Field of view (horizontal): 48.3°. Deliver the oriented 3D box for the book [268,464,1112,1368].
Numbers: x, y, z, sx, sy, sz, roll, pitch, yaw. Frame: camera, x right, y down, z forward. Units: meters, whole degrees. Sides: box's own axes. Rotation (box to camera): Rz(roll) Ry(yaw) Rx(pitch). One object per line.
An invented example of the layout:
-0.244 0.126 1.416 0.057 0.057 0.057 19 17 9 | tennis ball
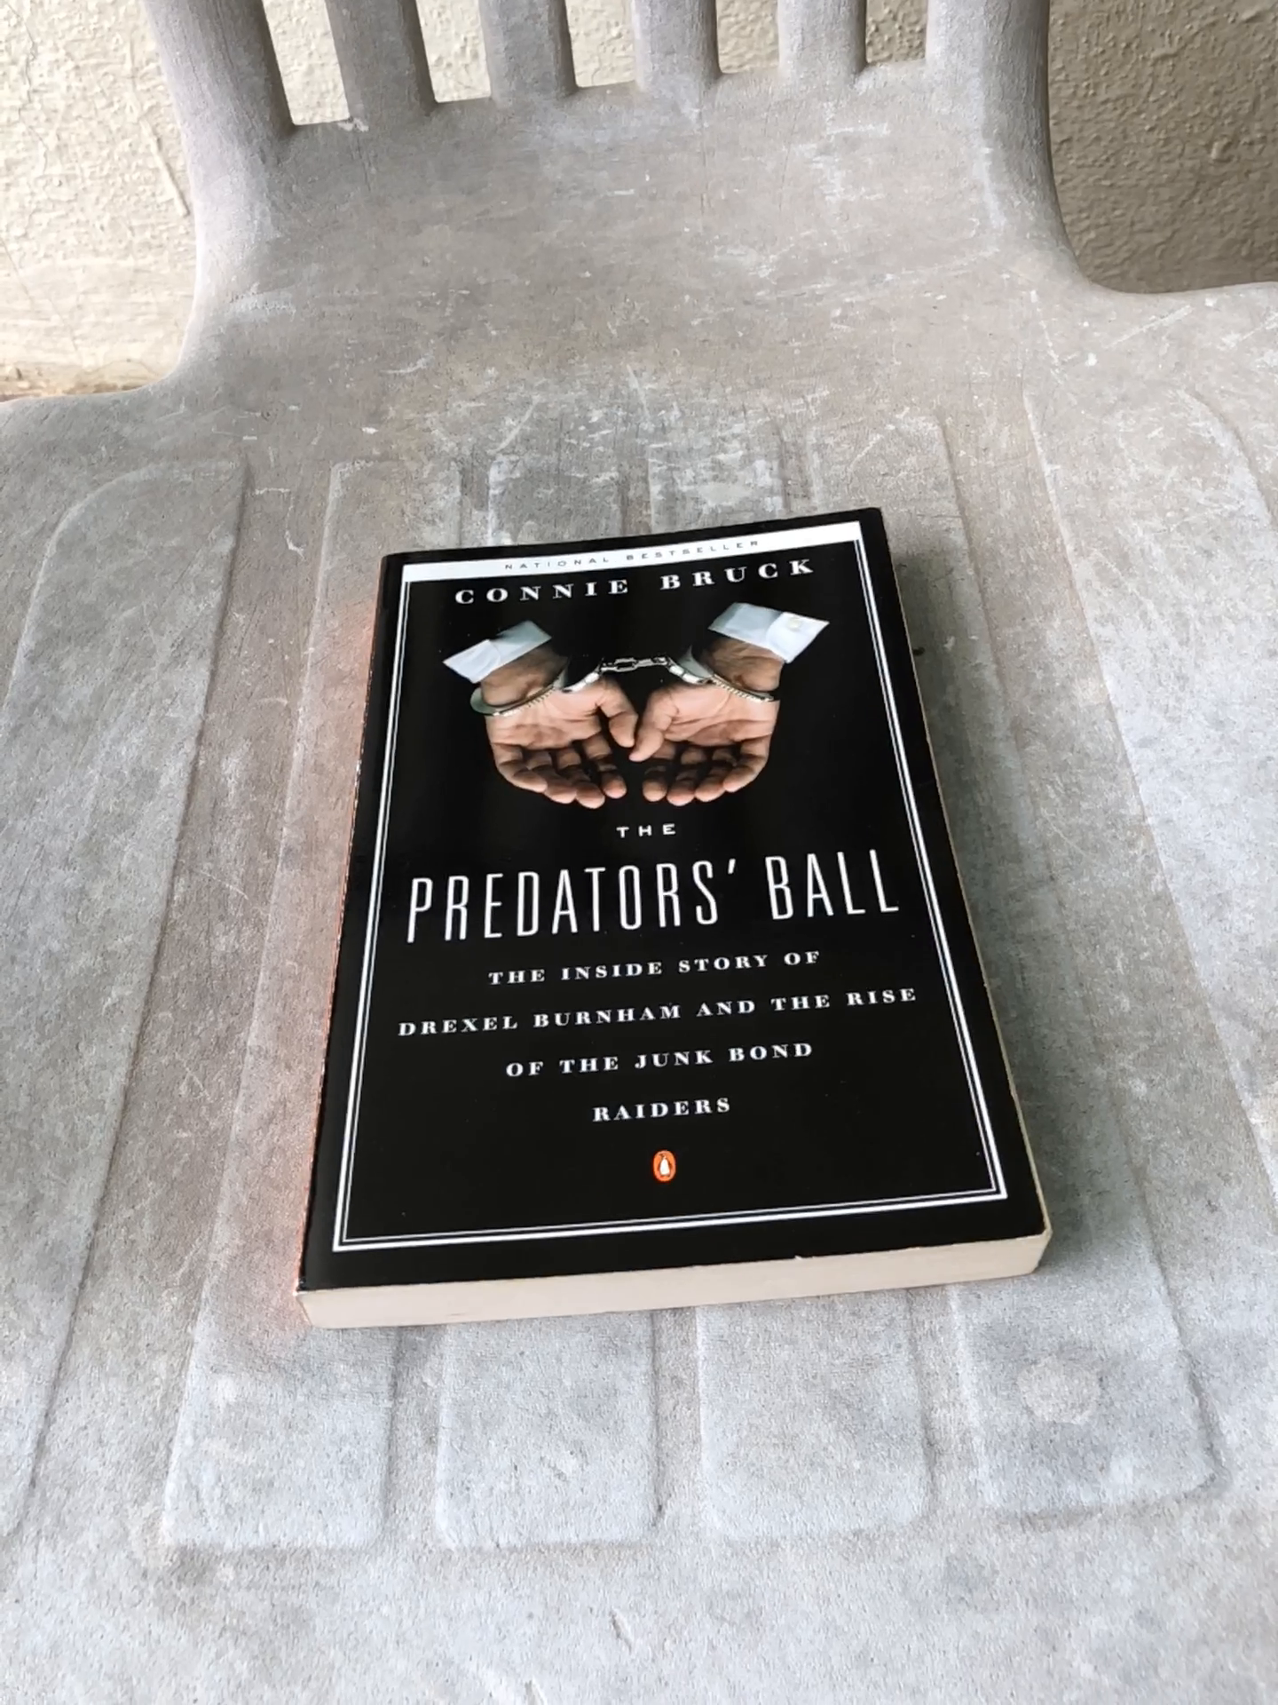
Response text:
0.005 -0.002 0.313 0.140 0.030 0.211 -5 51 2 | book
